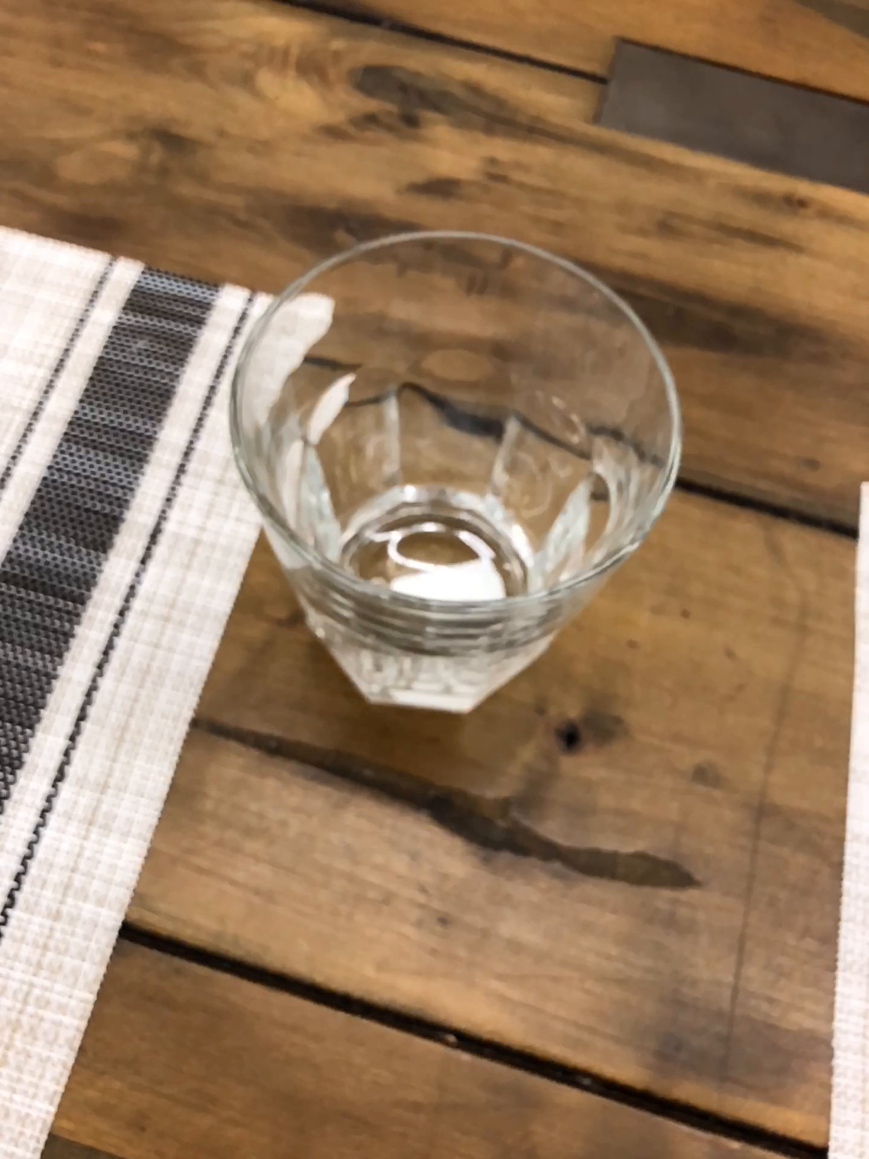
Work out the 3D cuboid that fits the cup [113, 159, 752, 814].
[{"bbox_3d":[0.001,-0.017,0.221,0.087,0.081,0.090,1,65,-3],"label":"cup"}]
